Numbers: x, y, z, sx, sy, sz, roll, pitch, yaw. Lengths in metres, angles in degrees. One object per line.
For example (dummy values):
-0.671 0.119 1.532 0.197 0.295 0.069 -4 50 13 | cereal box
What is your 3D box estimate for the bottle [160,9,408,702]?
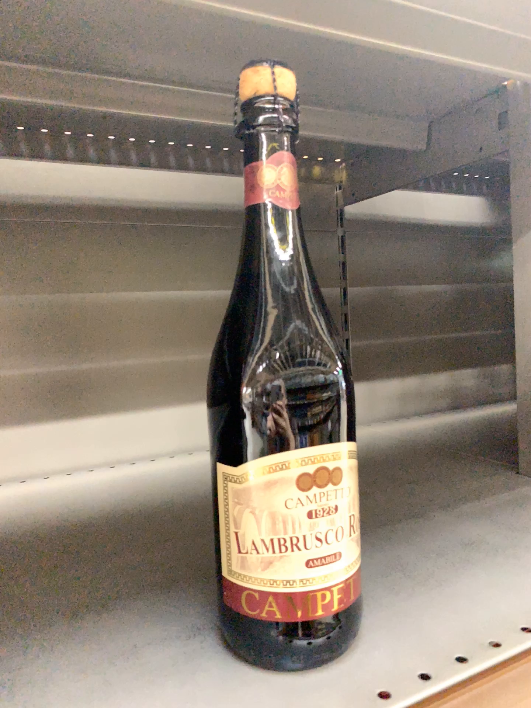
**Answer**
0.009 0.001 0.291 0.090 0.300 0.080 -5 4 -28 | bottle
